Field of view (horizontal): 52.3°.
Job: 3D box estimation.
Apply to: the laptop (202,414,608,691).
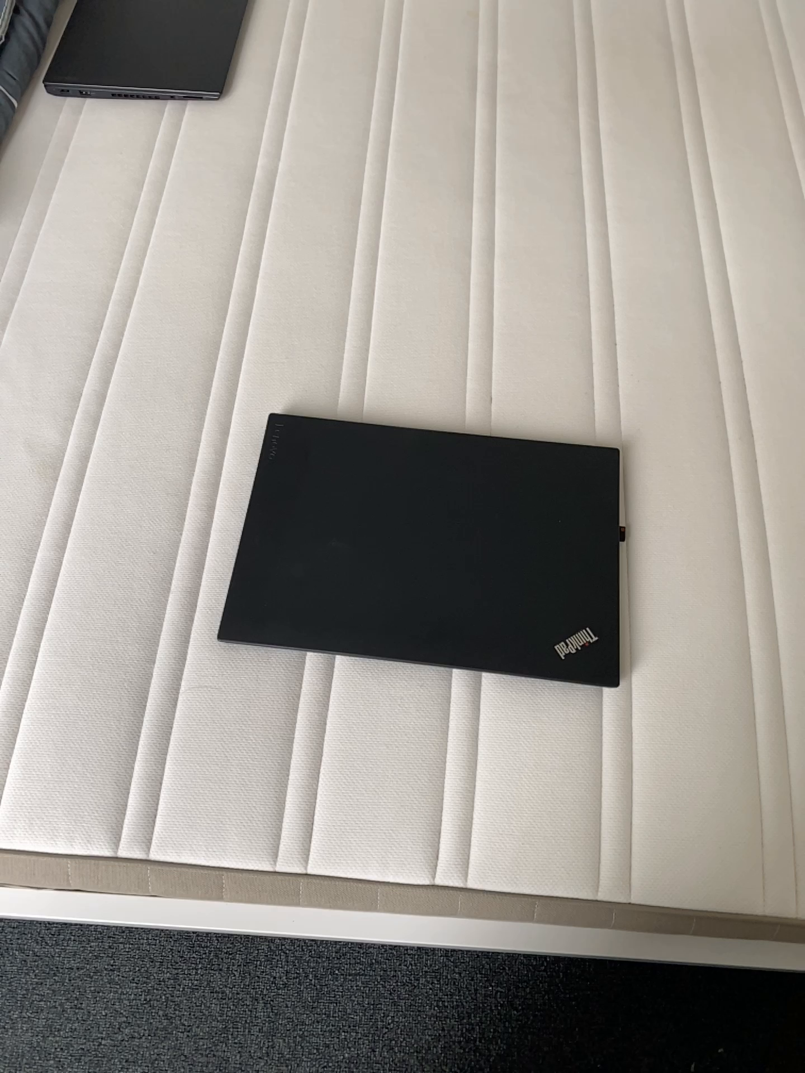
[{"bbox_3d":[0.010,0.005,0.629,0.288,0.005,0.193,7,66,2],"label":"laptop"}]
